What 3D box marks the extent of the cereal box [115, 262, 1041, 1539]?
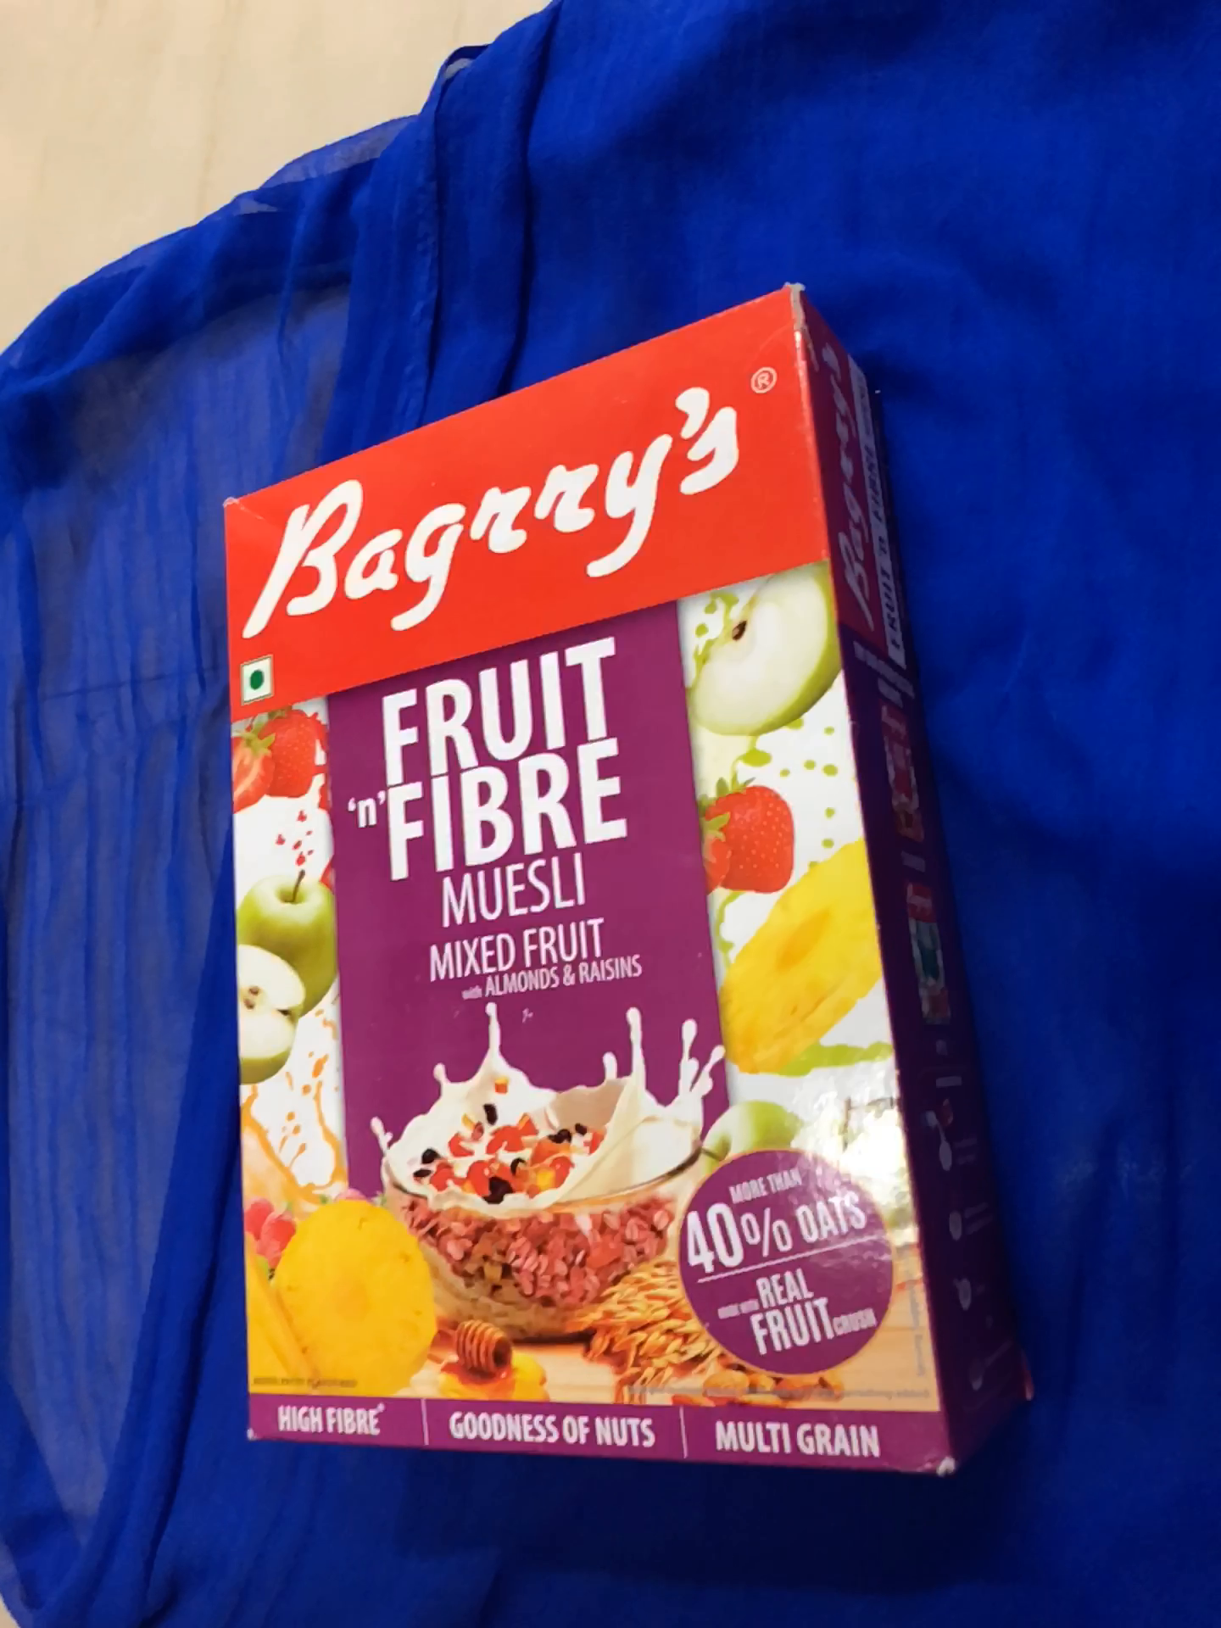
[{"bbox_3d":[-0.021,0.028,0.342,0.200,0.080,0.250,-11,77,27],"label":"cereal box"}]
